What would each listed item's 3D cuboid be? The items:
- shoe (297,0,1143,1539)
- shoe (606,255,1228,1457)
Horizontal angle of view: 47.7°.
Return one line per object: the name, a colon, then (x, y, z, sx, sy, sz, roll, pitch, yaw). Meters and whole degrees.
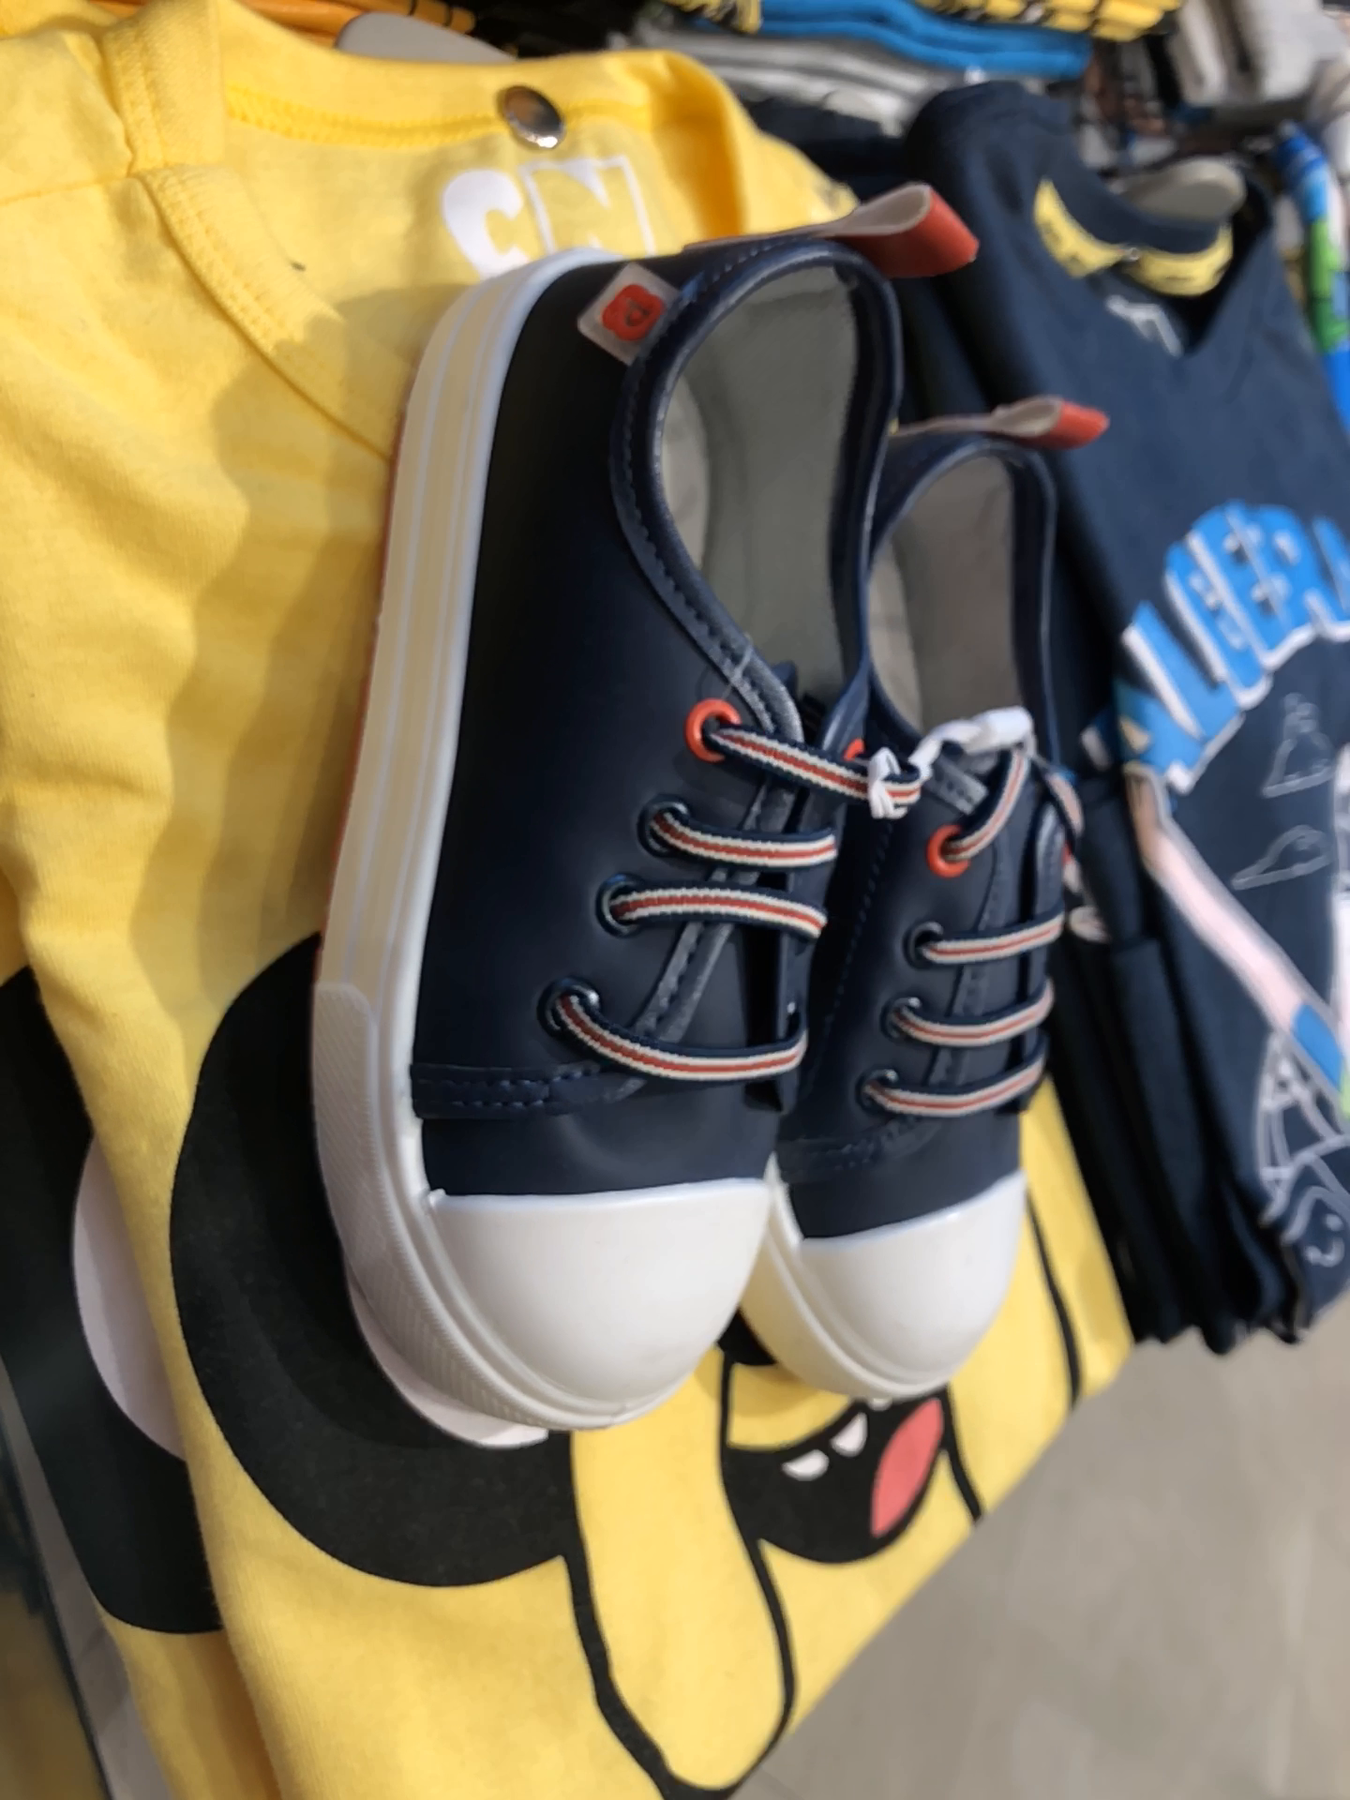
shoe: (0.009, -0.013, 0.209, 0.081, 0.070, 0.160, 8, 85, -46)
shoe: (0.045, -0.008, 0.269, 0.081, 0.070, 0.170, -6, 95, -48)
